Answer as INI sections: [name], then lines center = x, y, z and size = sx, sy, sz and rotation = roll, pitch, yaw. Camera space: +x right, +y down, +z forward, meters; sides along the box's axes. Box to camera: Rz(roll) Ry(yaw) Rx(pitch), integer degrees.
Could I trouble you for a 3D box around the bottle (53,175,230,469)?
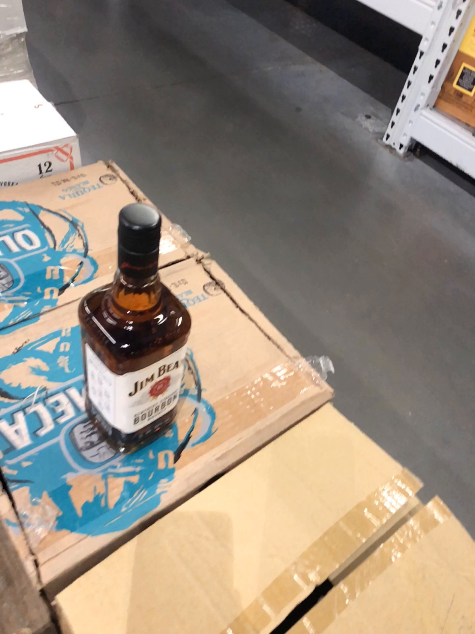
[bottle]
center = -0.087, 0.019, 0.463
size = 0.090, 0.258, 0.087
rotation = 6, 48, -7
